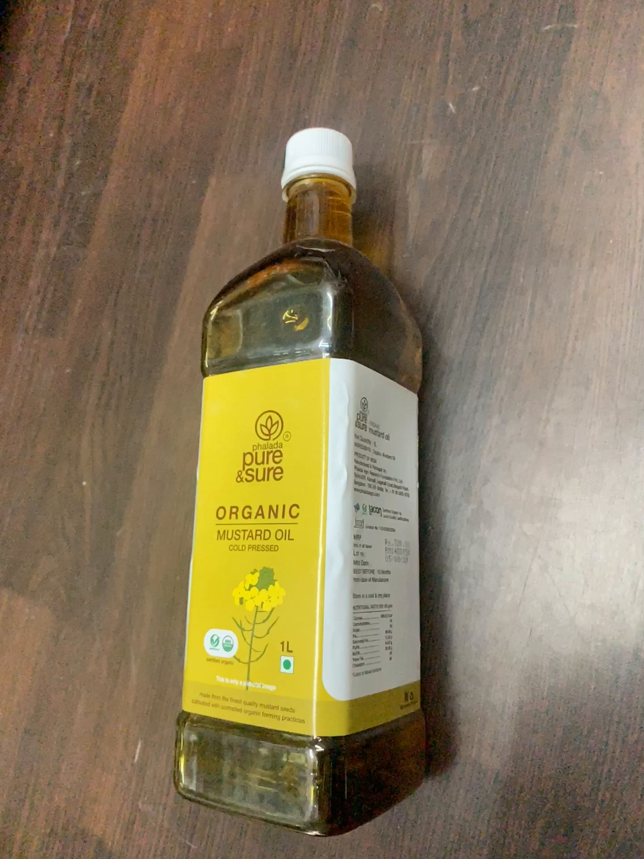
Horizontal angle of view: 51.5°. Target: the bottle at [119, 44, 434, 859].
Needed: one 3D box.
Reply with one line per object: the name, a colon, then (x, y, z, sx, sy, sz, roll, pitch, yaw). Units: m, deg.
bottle: (-0.010, 0.005, 0.267, 0.080, 0.080, 0.270, -5, 77, 32)
